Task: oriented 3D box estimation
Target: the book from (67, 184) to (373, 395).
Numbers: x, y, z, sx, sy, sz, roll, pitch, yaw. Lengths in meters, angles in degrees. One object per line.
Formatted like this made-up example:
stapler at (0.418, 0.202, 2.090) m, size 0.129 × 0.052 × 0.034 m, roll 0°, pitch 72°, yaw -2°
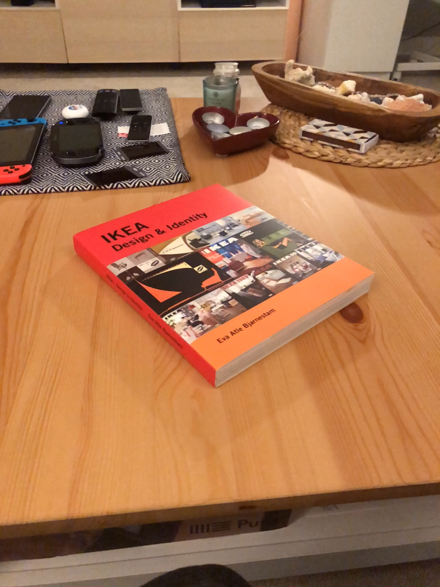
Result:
book at (-0.006, -0.031, 0.529) m, size 0.217 × 0.030 × 0.255 m, roll -27°, pitch 47°, yaw -31°
